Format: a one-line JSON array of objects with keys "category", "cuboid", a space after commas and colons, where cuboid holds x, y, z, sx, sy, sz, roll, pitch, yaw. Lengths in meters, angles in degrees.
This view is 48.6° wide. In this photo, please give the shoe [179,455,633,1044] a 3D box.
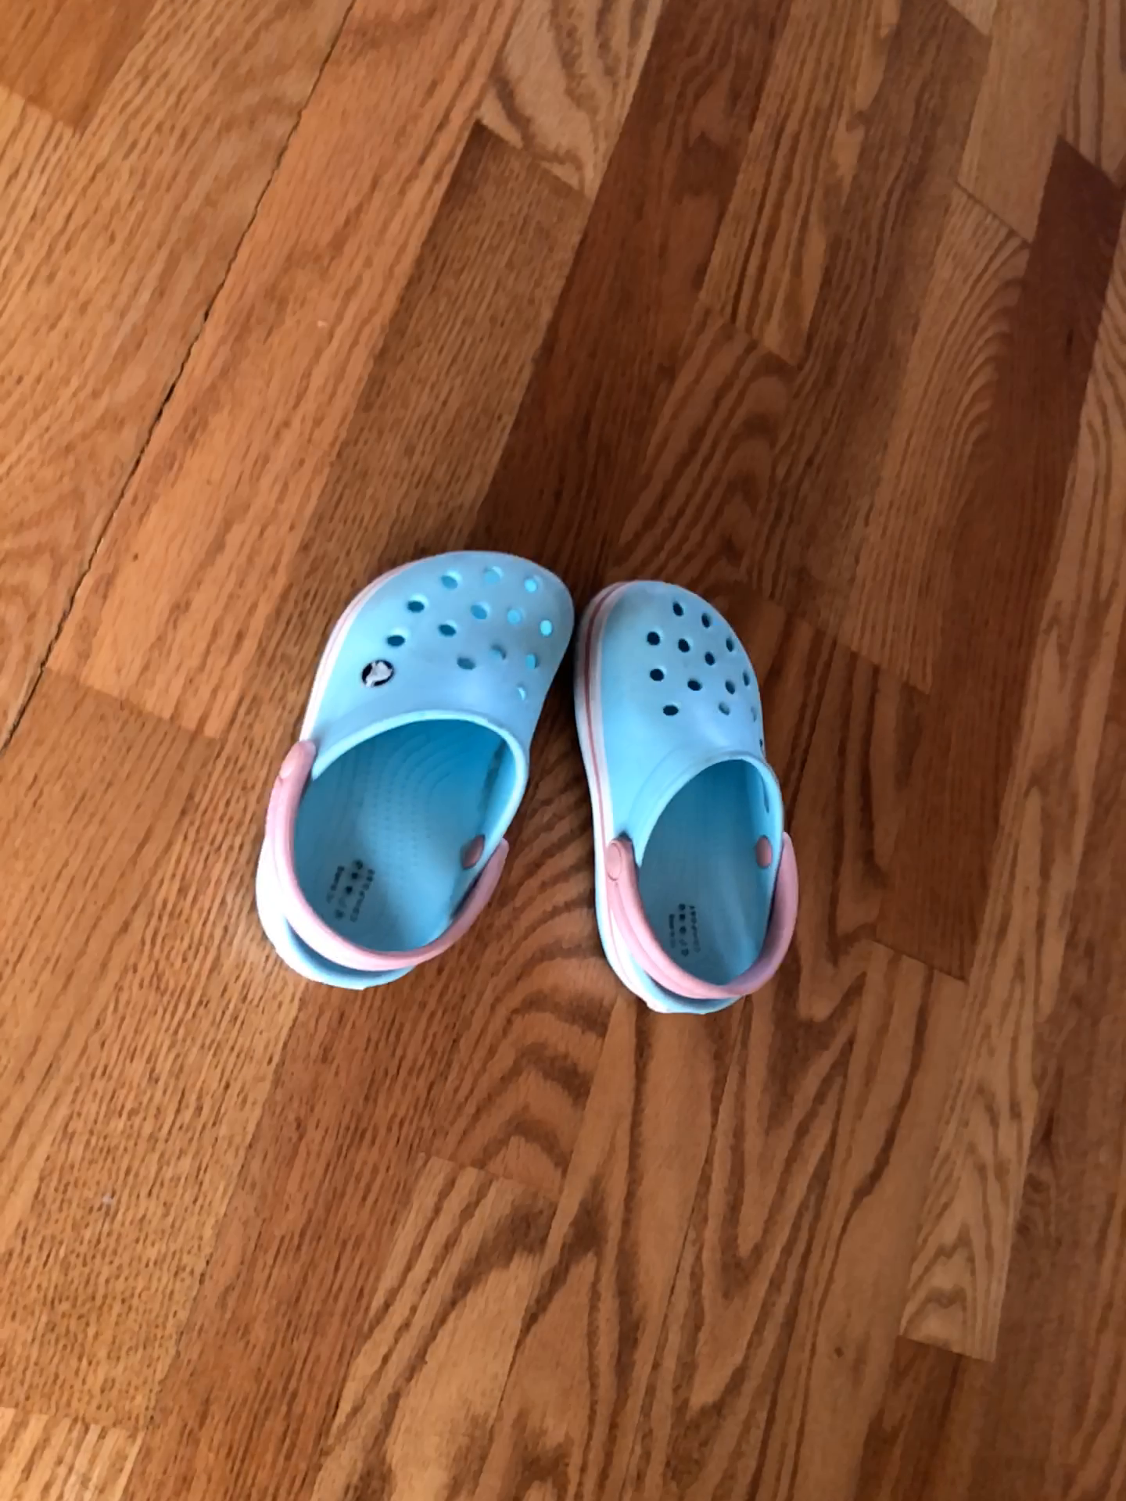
[{"category": "shoe", "cuboid": [-0.048, 0.002, 0.411, 0.083, 0.057, 0.165, 27, 70, -23]}]

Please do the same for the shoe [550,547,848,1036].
[{"category": "shoe", "cuboid": [0.049, 0.015, 0.459, 0.083, 0.048, 0.165, 0, 82, -29]}]
